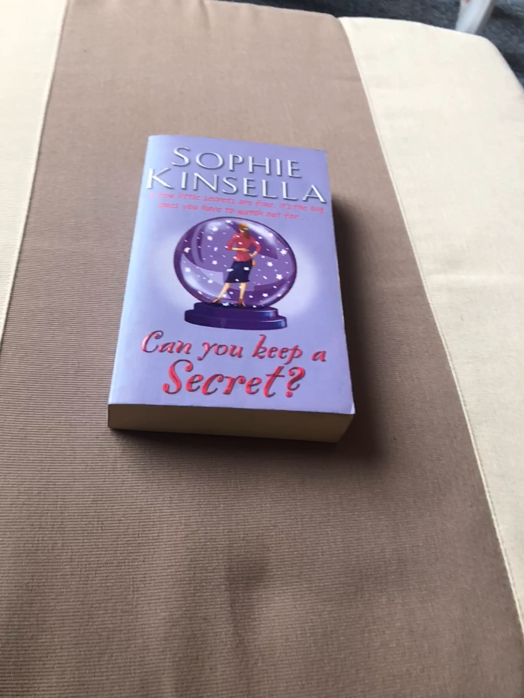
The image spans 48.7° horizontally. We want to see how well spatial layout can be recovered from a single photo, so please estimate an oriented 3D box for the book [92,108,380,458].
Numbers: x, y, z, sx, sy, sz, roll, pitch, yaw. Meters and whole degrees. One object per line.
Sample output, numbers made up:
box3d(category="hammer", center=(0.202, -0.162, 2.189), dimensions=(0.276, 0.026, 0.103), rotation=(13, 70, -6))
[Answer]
box3d(category="book", center=(-0.012, -0.041, 0.287), dimensions=(0.110, 0.040, 0.181), rotation=(5, 55, -8))
